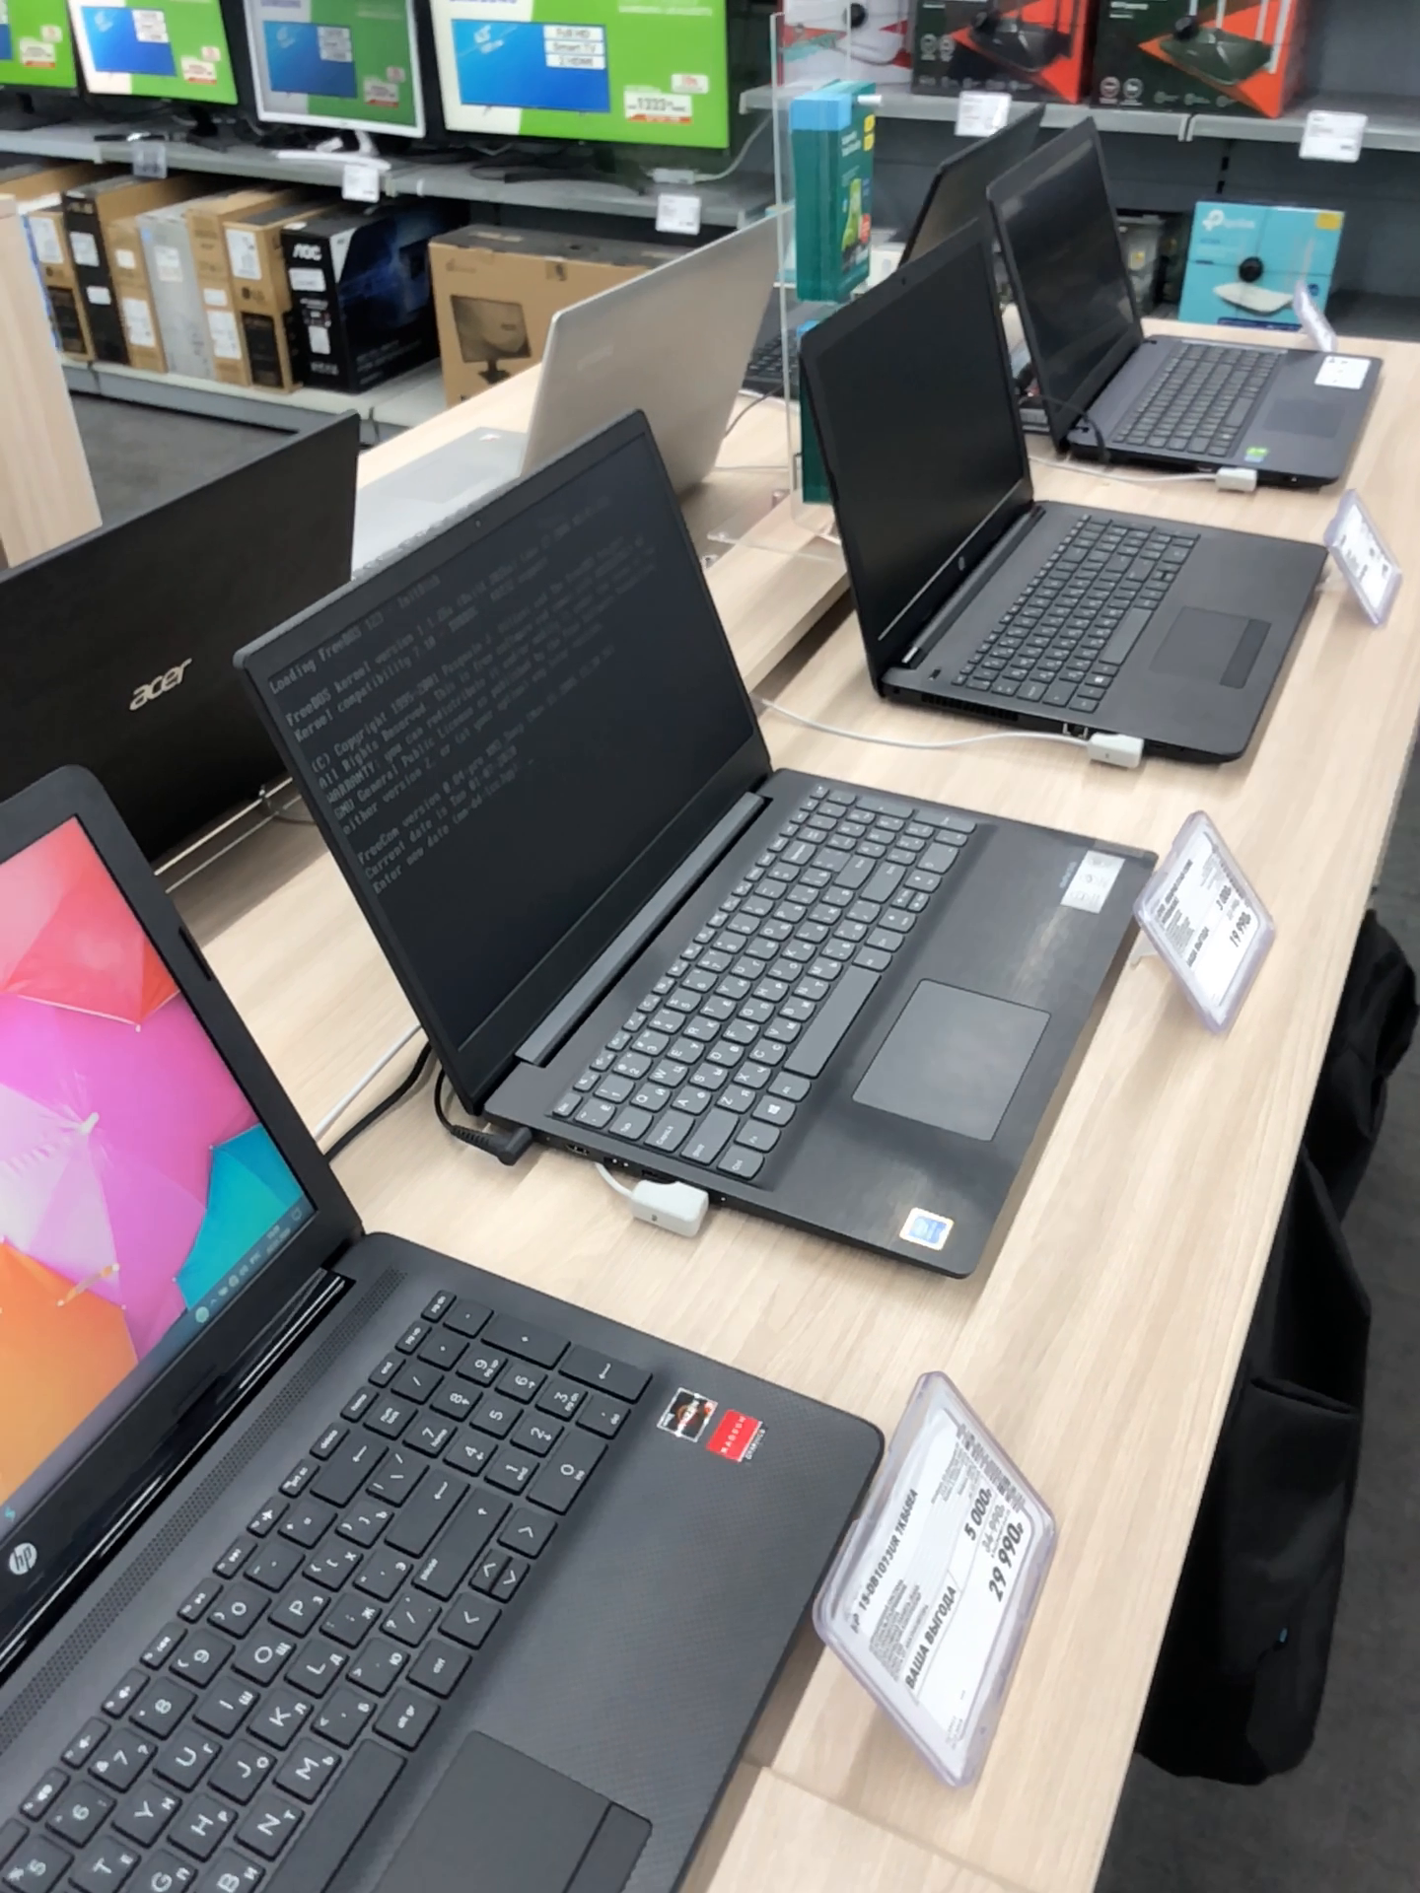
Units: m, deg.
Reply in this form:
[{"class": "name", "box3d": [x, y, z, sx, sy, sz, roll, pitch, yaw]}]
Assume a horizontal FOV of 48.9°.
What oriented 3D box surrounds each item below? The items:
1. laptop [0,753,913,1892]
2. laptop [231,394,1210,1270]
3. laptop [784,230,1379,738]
[{"class": "laptop", "box3d": [-0.157, 0.151, 0.433, 0.320, 0.202, 0.353, 16, 39, 20]}, {"class": "laptop", "box3d": [0.028, -0.088, 0.757, 0.321, 0.210, 0.342, 16, 40, 20]}, {"class": "laptop", "box3d": [0.262, -0.340, 1.089, 0.297, 0.208, 0.339, 15, 39, 19]}]
